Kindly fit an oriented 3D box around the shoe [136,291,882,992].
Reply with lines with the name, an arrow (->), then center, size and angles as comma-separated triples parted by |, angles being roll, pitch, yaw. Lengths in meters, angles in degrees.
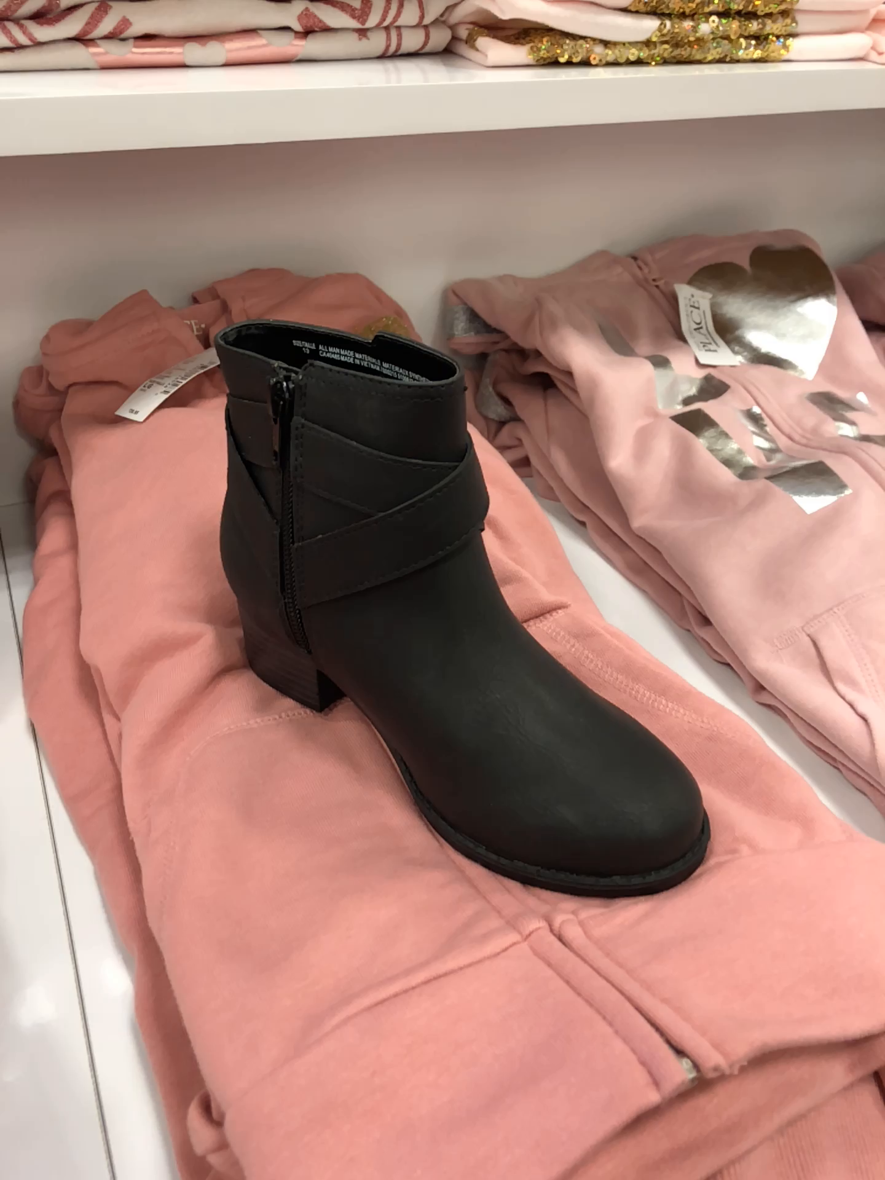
shoe -> 0.007, 0.003, 0.314 | 0.200, 0.129, 0.080 | 27, 42, 29
